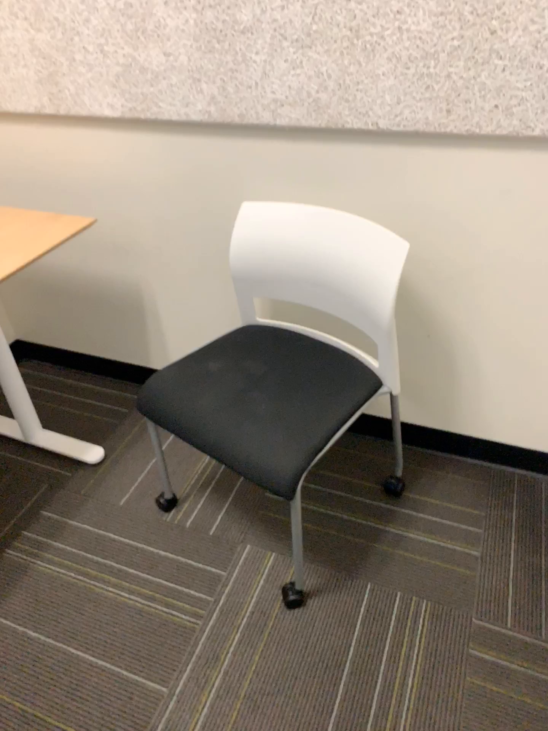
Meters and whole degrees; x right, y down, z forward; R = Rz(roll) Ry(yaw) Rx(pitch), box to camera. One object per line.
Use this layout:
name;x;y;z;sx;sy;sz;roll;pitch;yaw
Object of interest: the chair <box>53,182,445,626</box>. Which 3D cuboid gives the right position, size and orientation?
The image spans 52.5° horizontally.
chair;-0.025;0.054;1.342;0.582;0.736;0.541;24;45;32
